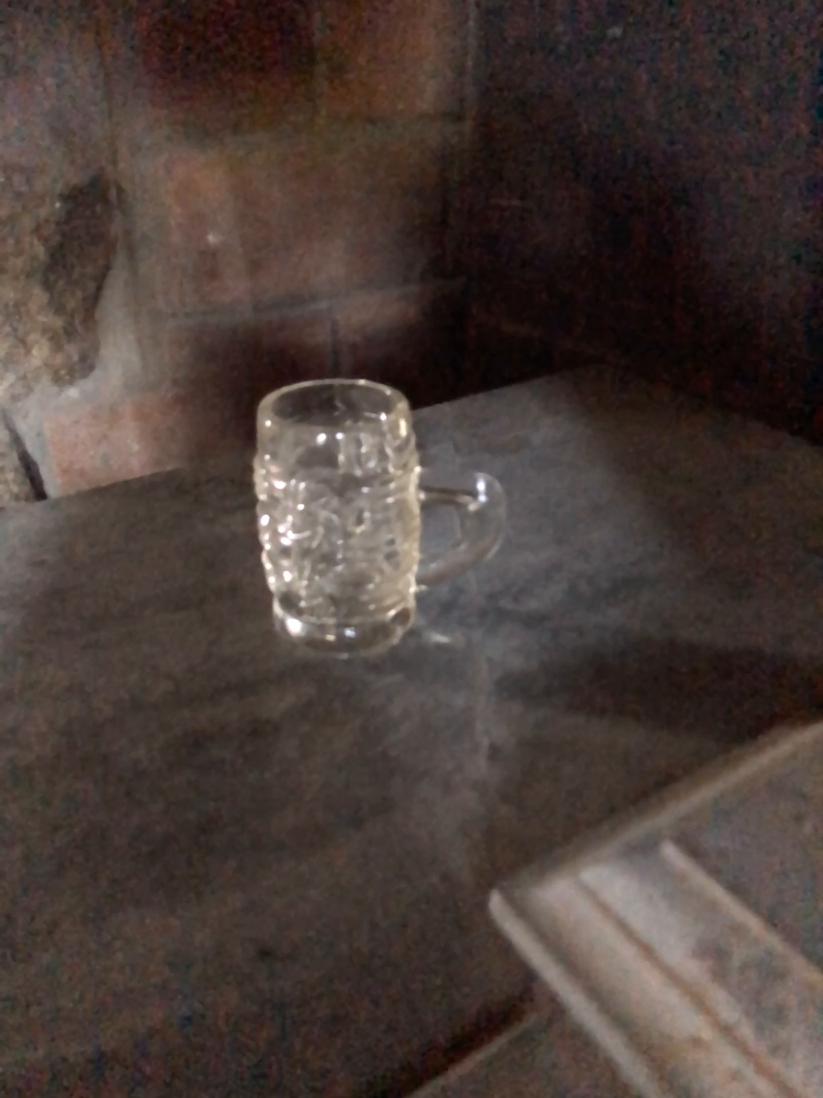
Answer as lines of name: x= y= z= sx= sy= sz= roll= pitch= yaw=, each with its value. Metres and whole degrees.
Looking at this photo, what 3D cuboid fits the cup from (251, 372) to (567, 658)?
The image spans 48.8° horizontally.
cup: x=0.001 y=-0.009 z=0.201 sx=0.060 sy=0.050 sz=0.040 roll=1 pitch=29 yaw=5
